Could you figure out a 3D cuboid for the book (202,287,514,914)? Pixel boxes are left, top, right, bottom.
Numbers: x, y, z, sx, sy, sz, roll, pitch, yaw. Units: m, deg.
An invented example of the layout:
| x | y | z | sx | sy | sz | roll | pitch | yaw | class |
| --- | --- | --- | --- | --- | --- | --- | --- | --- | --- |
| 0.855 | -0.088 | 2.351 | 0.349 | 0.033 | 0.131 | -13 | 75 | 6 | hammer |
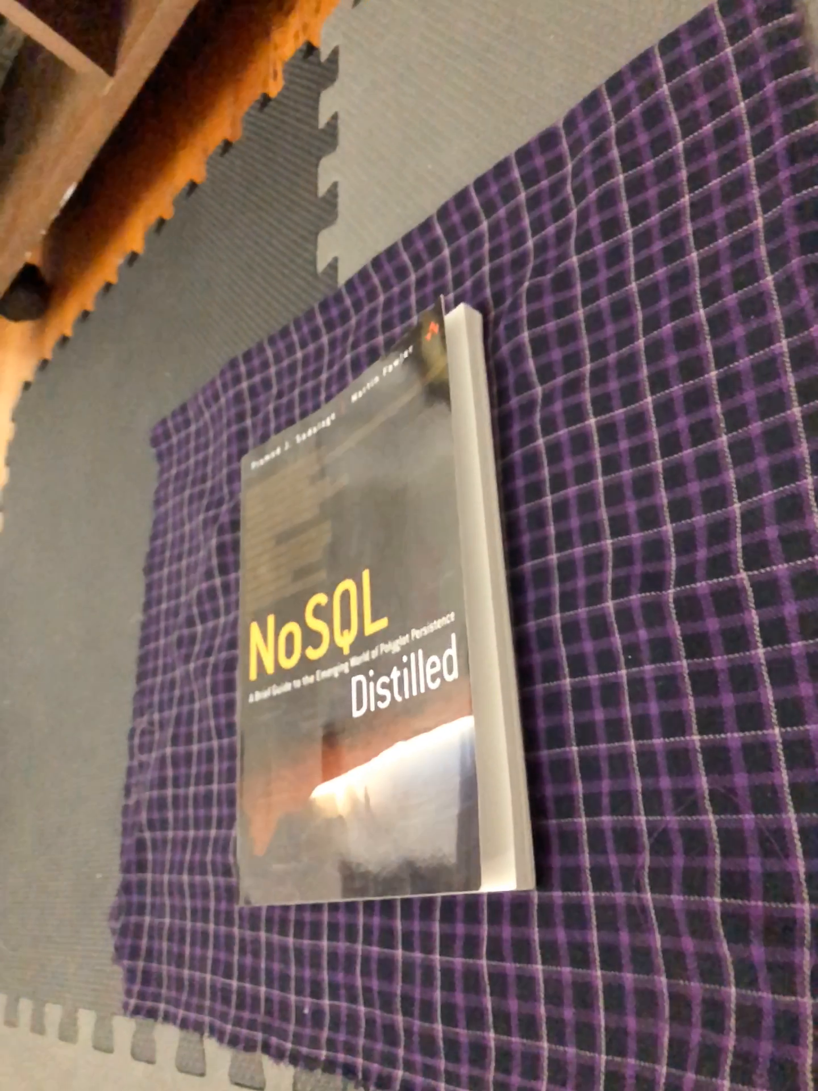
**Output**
| x | y | z | sx | sy | sz | roll | pitch | yaw | class |
| --- | --- | --- | --- | --- | --- | --- | --- | --- | --- |
| -0.037 | 0.034 | 0.426 | 0.190 | 0.020 | 0.250 | -27 | 58 | 45 | book |
